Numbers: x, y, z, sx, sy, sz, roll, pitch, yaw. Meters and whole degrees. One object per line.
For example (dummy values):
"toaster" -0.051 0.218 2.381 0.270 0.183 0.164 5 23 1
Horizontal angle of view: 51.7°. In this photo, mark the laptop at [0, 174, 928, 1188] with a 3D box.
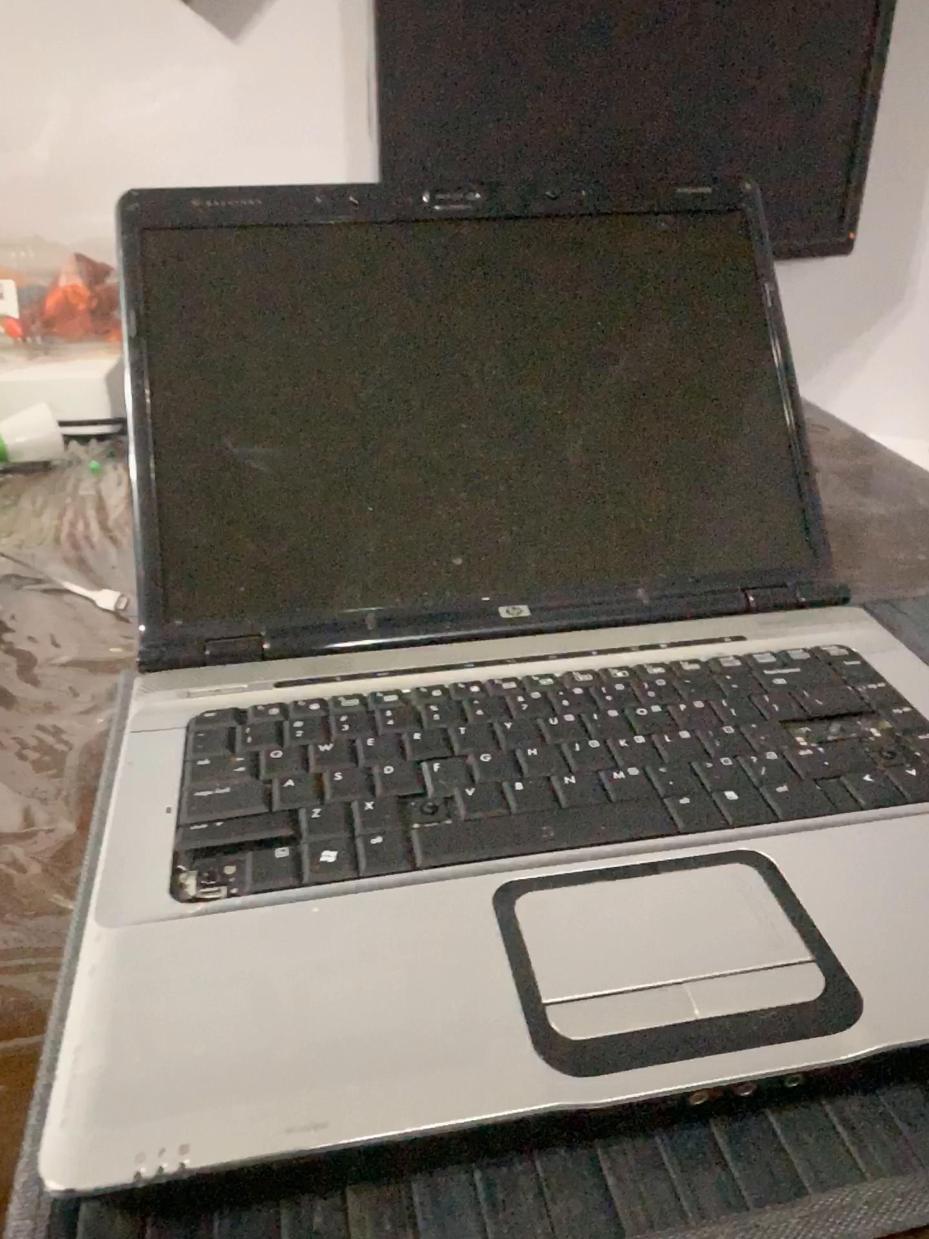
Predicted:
"laptop" 0.036 -0.061 0.392 0.349 0.186 0.404 -5 29 -10
